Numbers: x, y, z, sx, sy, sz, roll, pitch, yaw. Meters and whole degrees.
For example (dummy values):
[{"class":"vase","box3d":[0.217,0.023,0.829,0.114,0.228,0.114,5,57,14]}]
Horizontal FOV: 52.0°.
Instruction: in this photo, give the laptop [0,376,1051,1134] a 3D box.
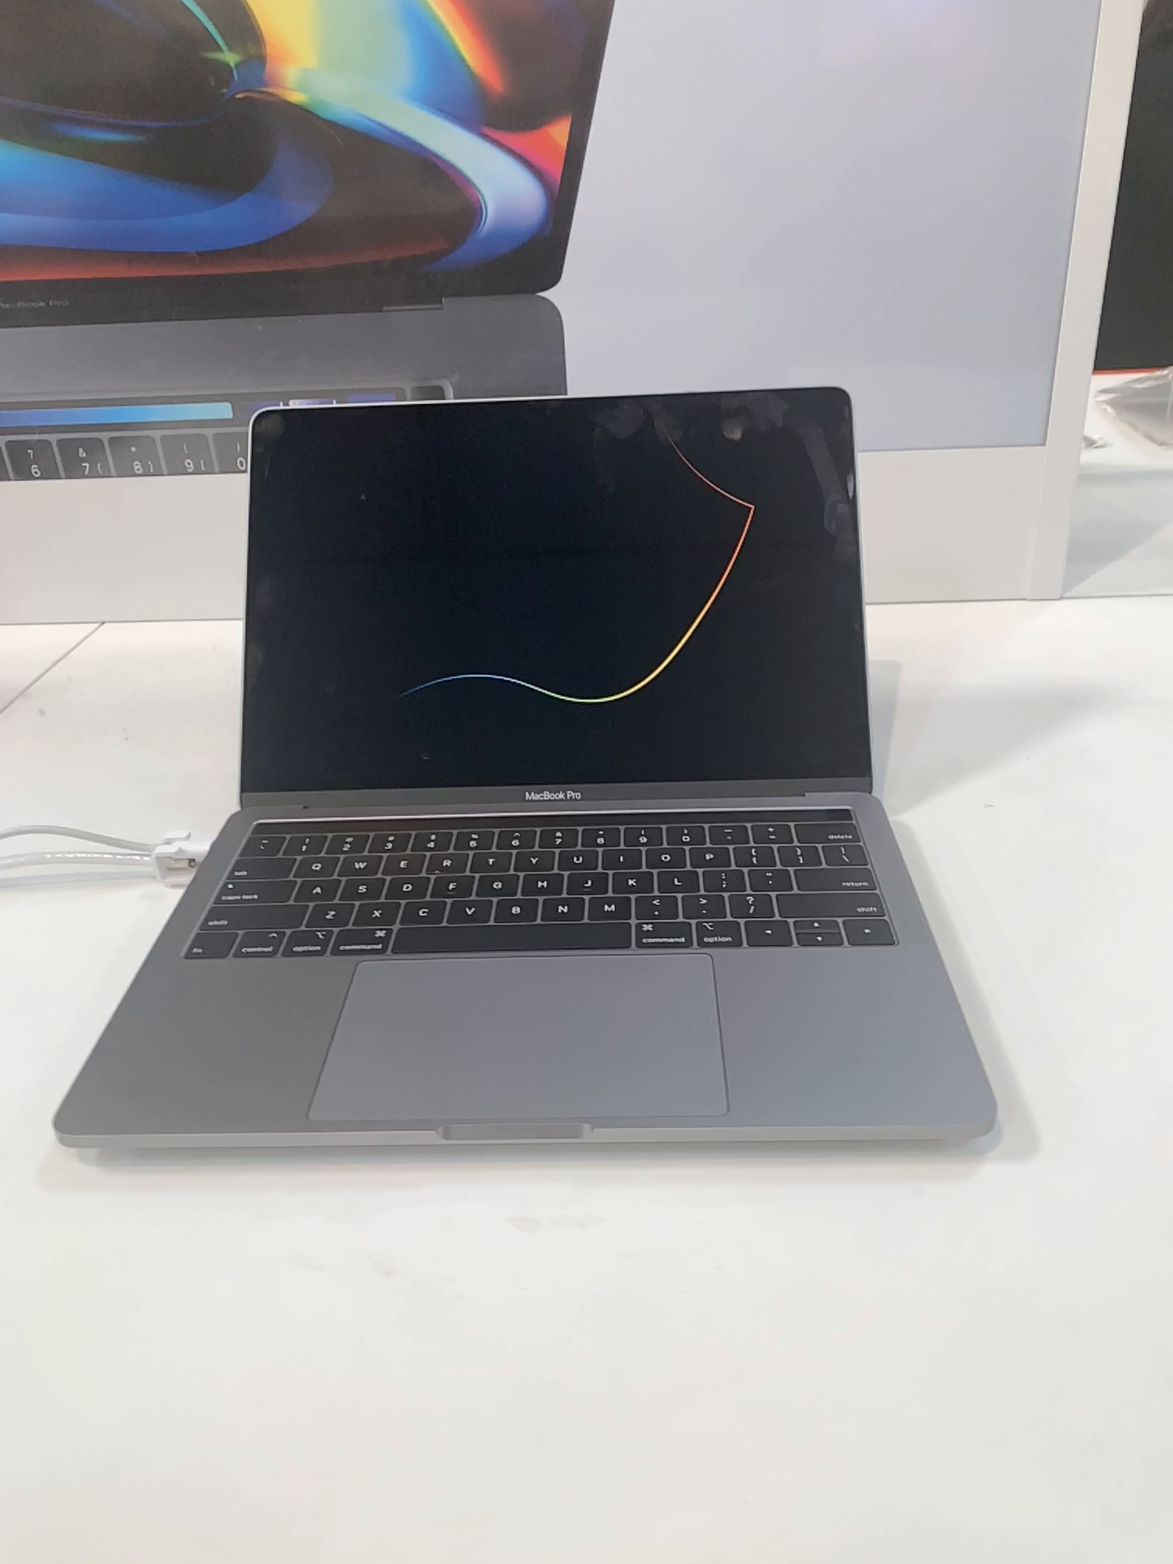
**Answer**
[{"class":"laptop","box3d":[-0.022,-0.041,0.465,0.284,0.150,0.316,-1,29,3]}]
